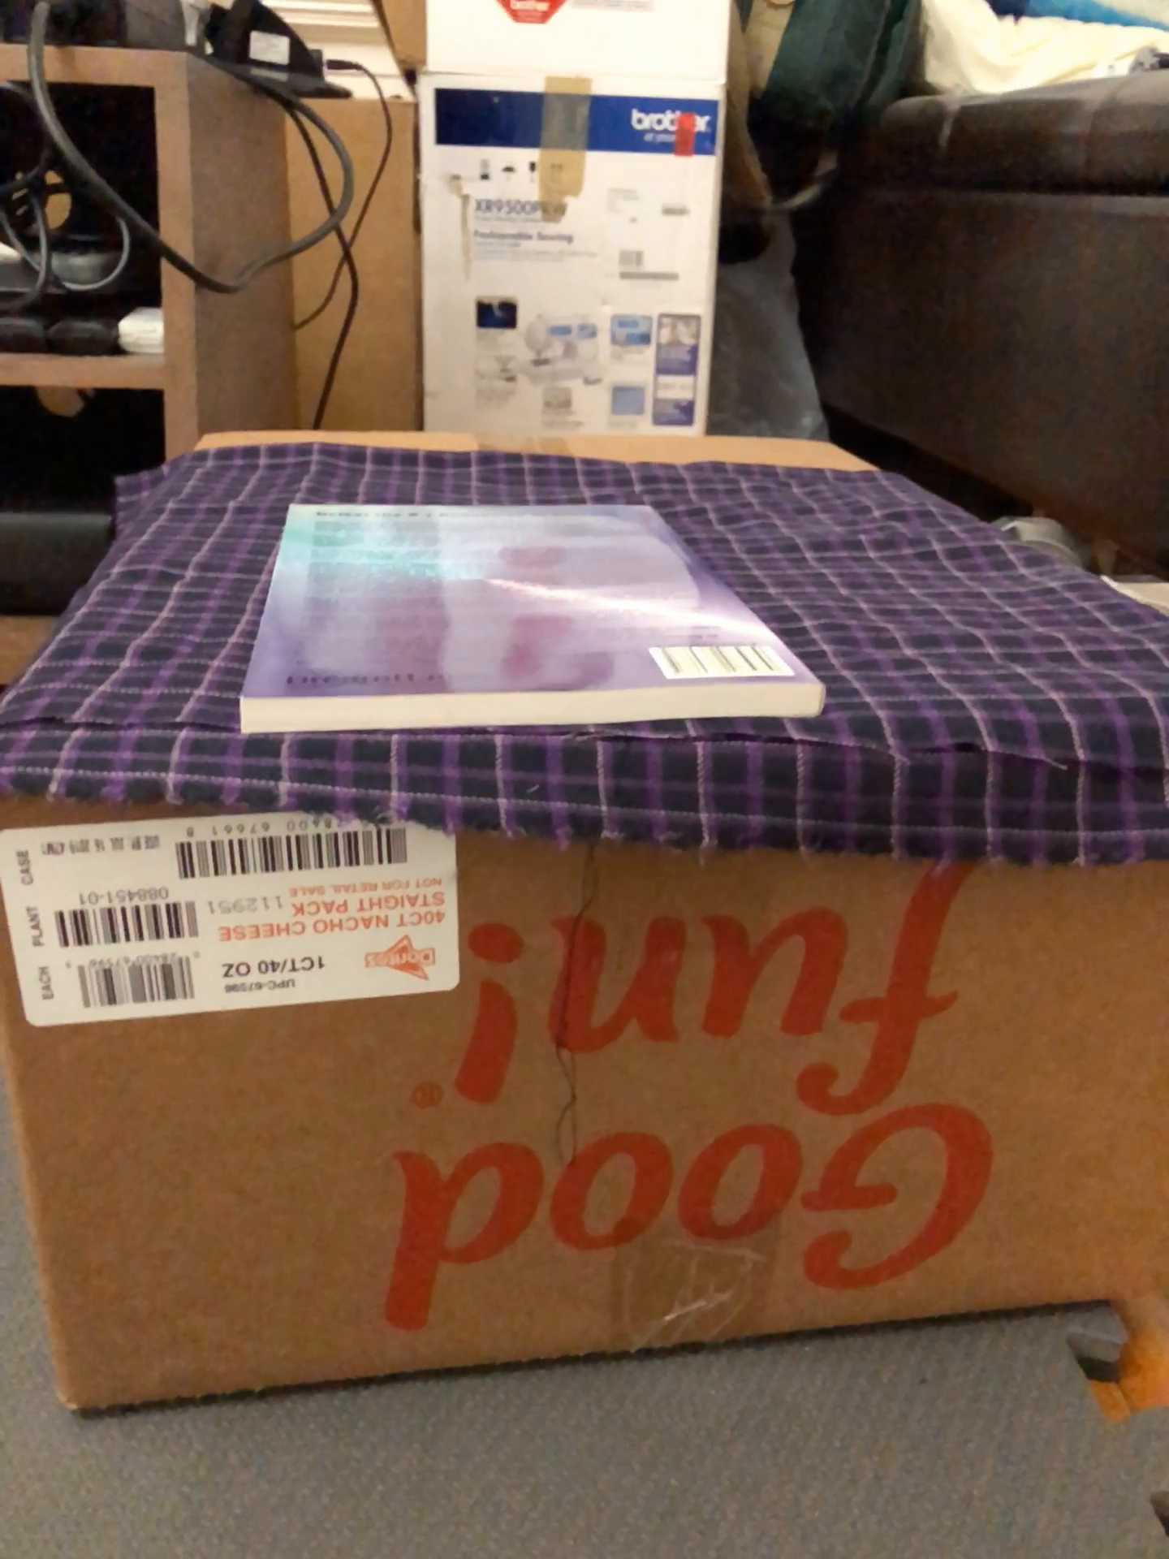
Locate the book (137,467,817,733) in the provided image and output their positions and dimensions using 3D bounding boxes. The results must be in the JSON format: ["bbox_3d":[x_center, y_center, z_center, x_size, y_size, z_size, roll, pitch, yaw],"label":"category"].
[{"bbox_3d":[-0.040,-0.068,0.408,0.160,0.020,0.221,-2,24,-9],"label":"book"}]
